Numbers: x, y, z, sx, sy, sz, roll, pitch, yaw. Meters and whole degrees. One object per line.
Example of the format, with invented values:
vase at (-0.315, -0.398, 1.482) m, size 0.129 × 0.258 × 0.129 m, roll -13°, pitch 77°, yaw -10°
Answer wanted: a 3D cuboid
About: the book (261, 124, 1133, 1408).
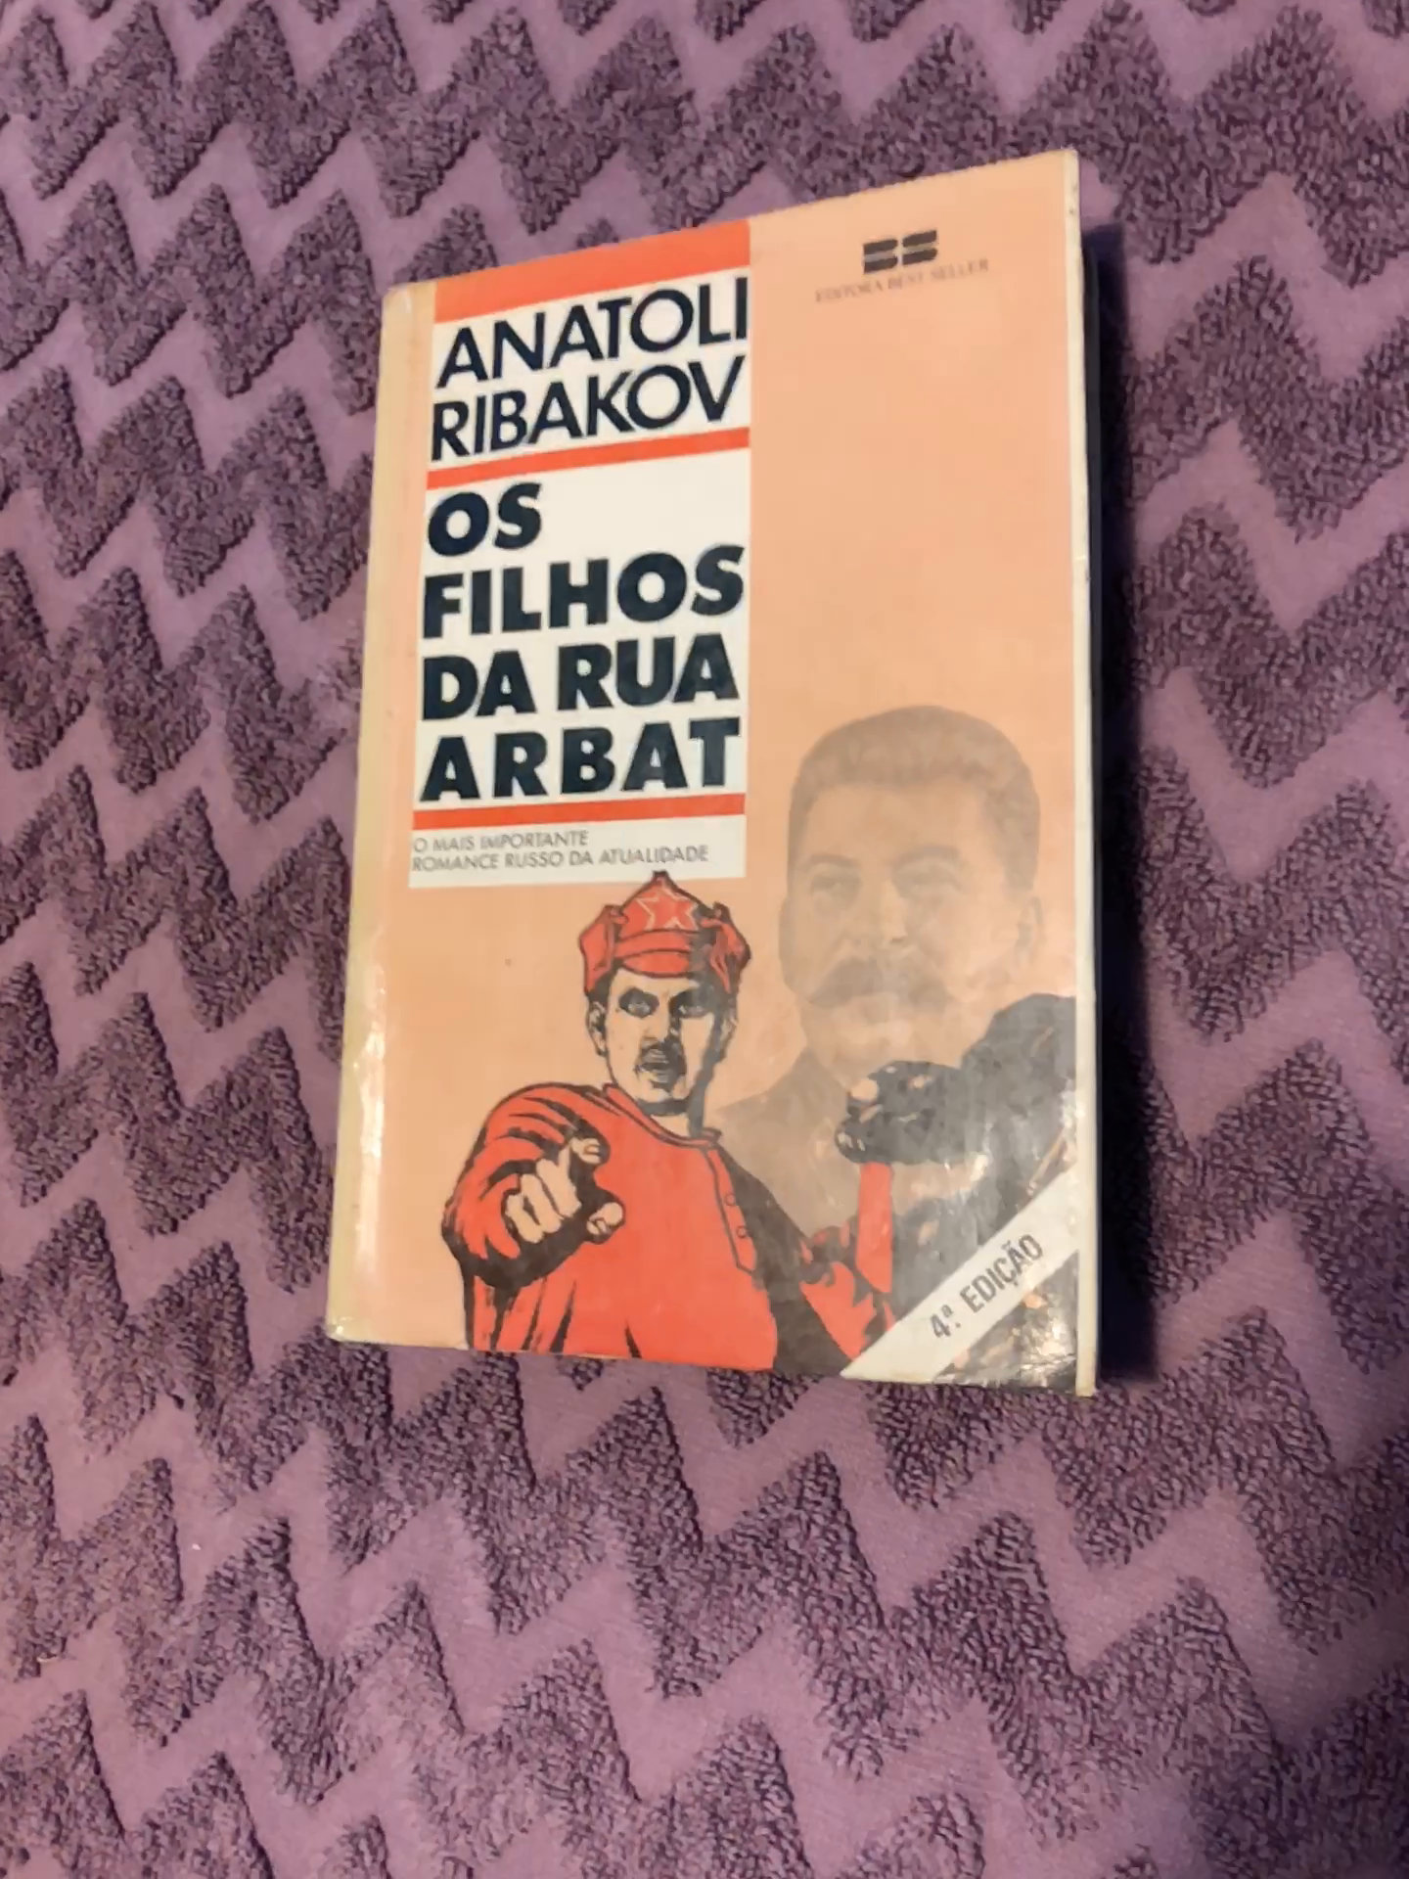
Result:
book at (-0.003, -0.024, 0.271) m, size 0.140 × 0.040 × 0.190 m, roll -2°, pitch 84°, yaw 19°
